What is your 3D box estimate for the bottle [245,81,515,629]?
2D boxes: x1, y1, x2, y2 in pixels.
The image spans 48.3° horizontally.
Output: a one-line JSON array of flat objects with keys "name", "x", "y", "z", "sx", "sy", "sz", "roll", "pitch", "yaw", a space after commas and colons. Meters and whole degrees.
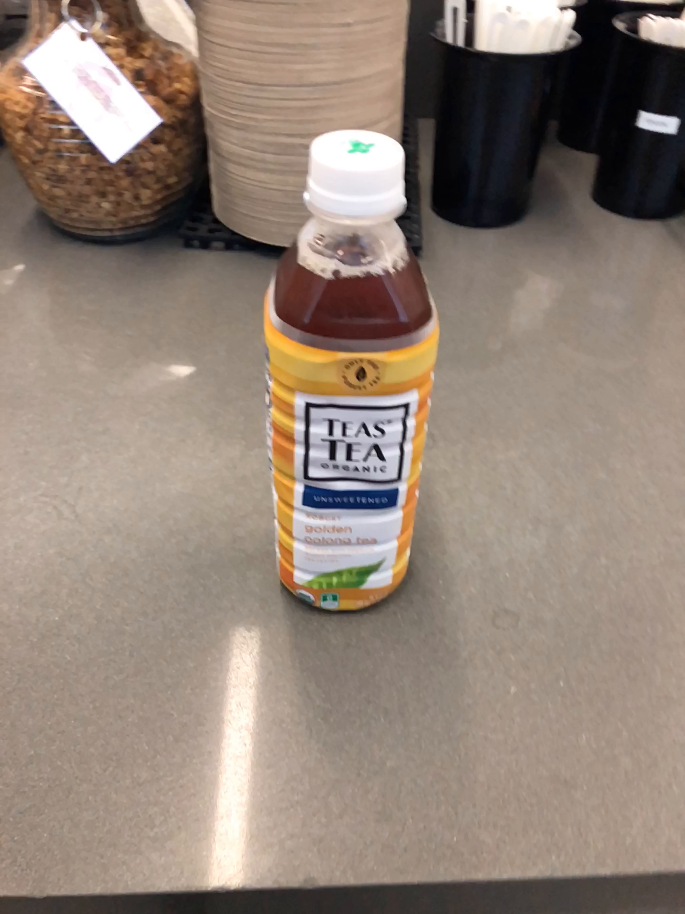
[{"name": "bottle", "x": 0.005, "y": -0.025, "z": 0.290, "sx": 0.070, "sy": 0.199, "sz": 0.070, "roll": 1, "pitch": 42, "yaw": -1}]
